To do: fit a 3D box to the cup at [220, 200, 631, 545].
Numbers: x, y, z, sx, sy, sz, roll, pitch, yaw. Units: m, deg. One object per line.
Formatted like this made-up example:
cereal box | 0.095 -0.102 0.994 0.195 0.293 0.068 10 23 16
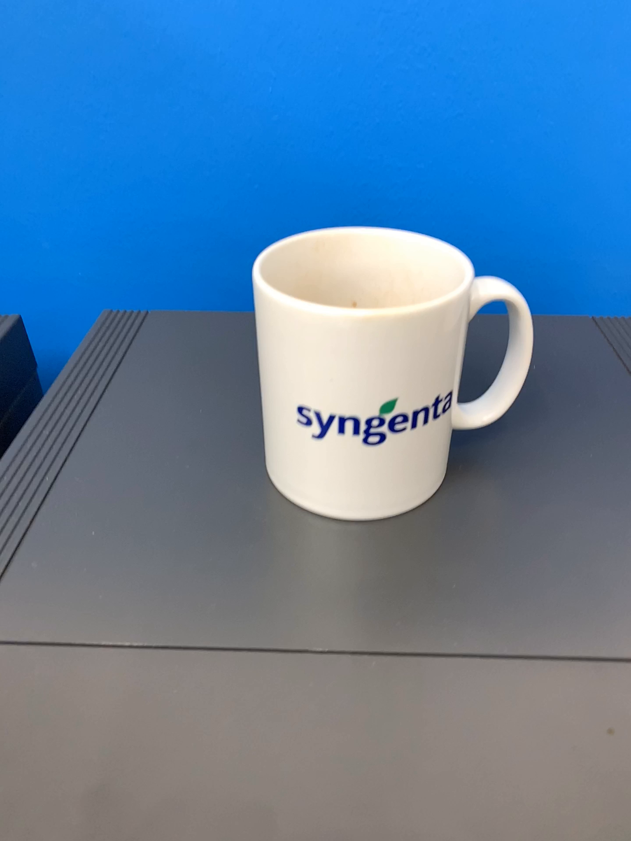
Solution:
cup | 0.034 -0.024 0.261 0.131 0.094 0.089 -6 36 -8
